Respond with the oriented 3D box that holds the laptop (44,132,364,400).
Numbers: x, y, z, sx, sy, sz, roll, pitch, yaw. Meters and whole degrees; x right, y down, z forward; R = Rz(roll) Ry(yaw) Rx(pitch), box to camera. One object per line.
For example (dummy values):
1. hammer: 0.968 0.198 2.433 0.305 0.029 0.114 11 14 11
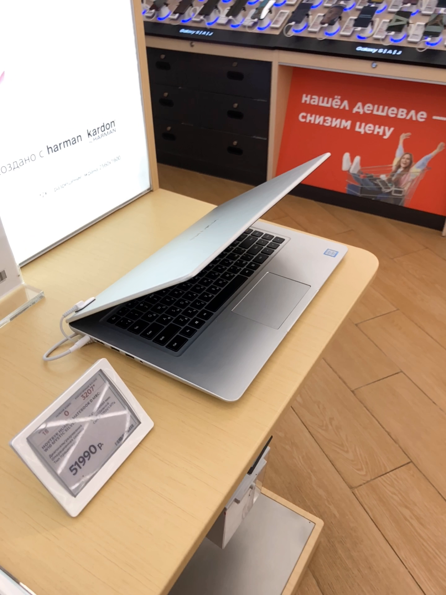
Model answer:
1. laptop: 0.002 -0.073 0.624 0.230 0.135 0.344 20 42 24
